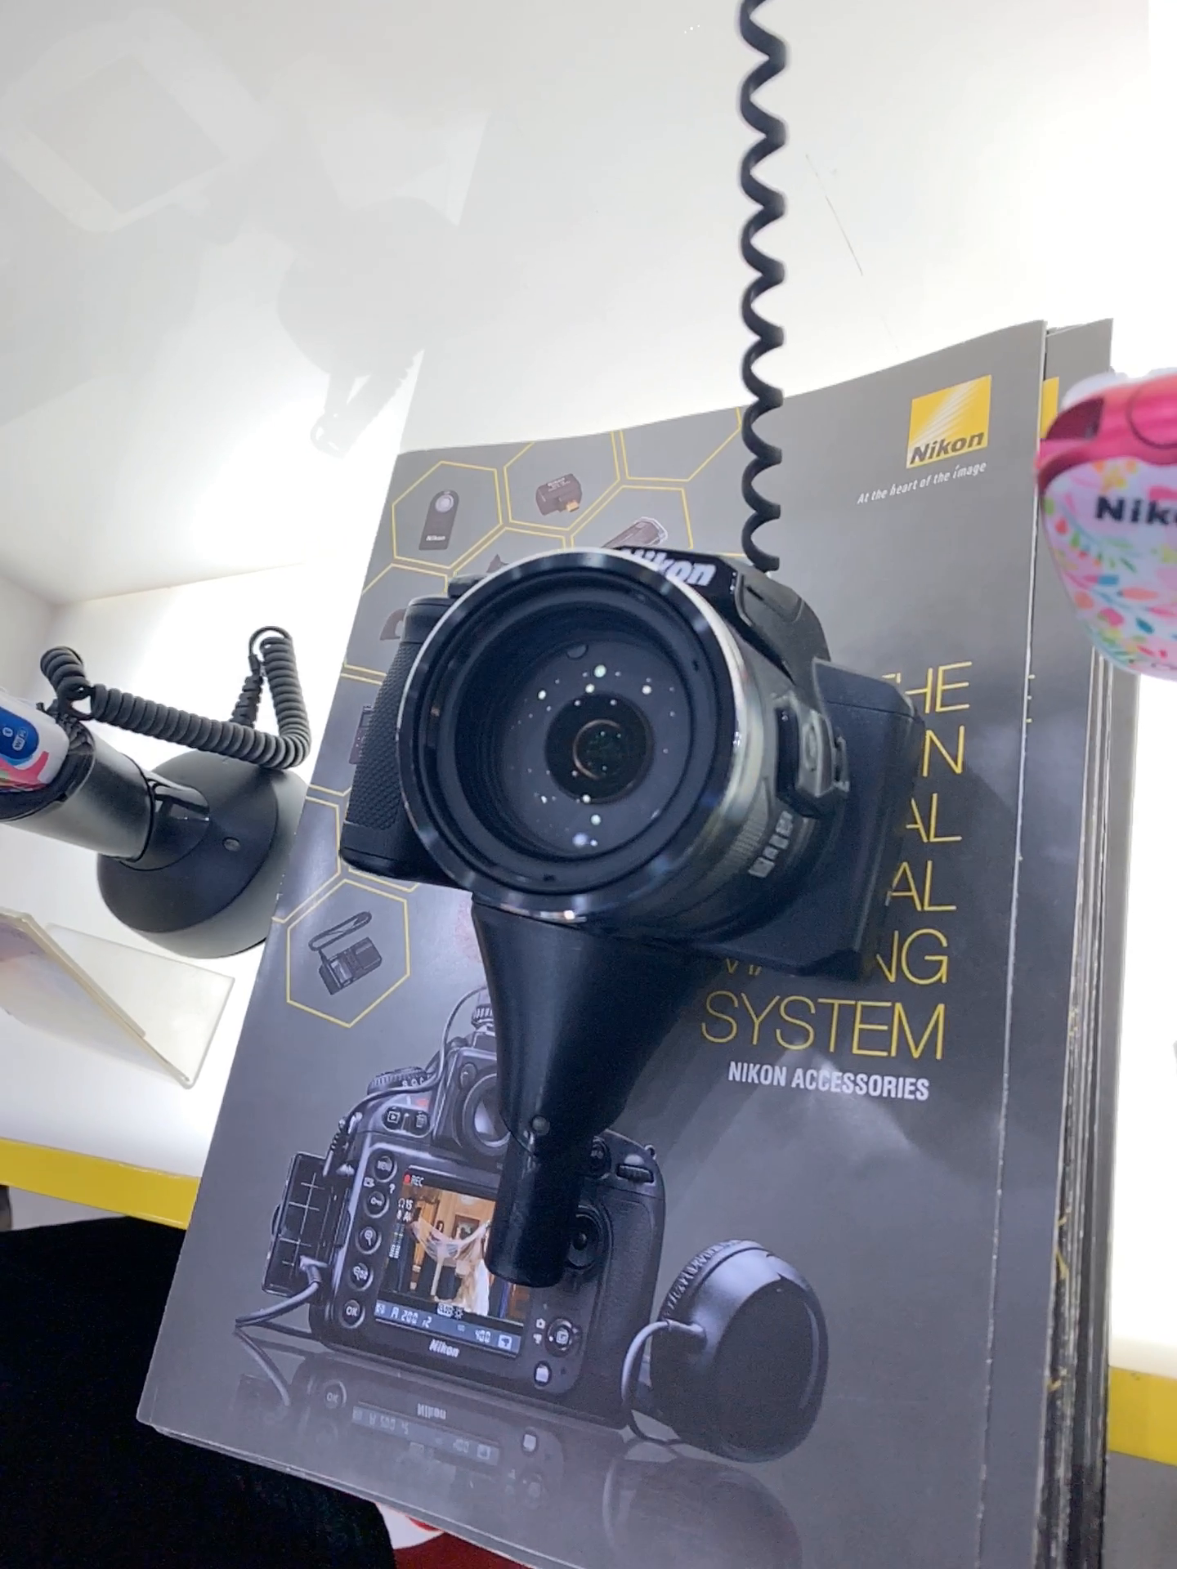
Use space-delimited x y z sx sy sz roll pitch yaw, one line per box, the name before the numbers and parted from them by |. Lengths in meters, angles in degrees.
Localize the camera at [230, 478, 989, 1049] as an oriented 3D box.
camera | 0.004 -0.006 0.257 0.121 0.080 0.090 12 87 36
